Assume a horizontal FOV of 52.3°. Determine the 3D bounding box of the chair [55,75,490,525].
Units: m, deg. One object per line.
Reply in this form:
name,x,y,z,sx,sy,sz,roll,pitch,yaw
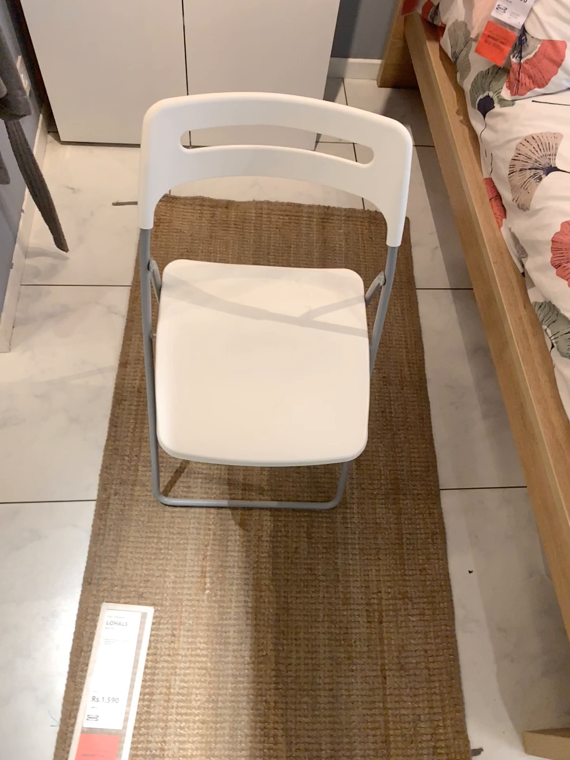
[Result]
chair,-0.033,-0.058,0.992,0.450,0.659,0.431,3,62,-4
